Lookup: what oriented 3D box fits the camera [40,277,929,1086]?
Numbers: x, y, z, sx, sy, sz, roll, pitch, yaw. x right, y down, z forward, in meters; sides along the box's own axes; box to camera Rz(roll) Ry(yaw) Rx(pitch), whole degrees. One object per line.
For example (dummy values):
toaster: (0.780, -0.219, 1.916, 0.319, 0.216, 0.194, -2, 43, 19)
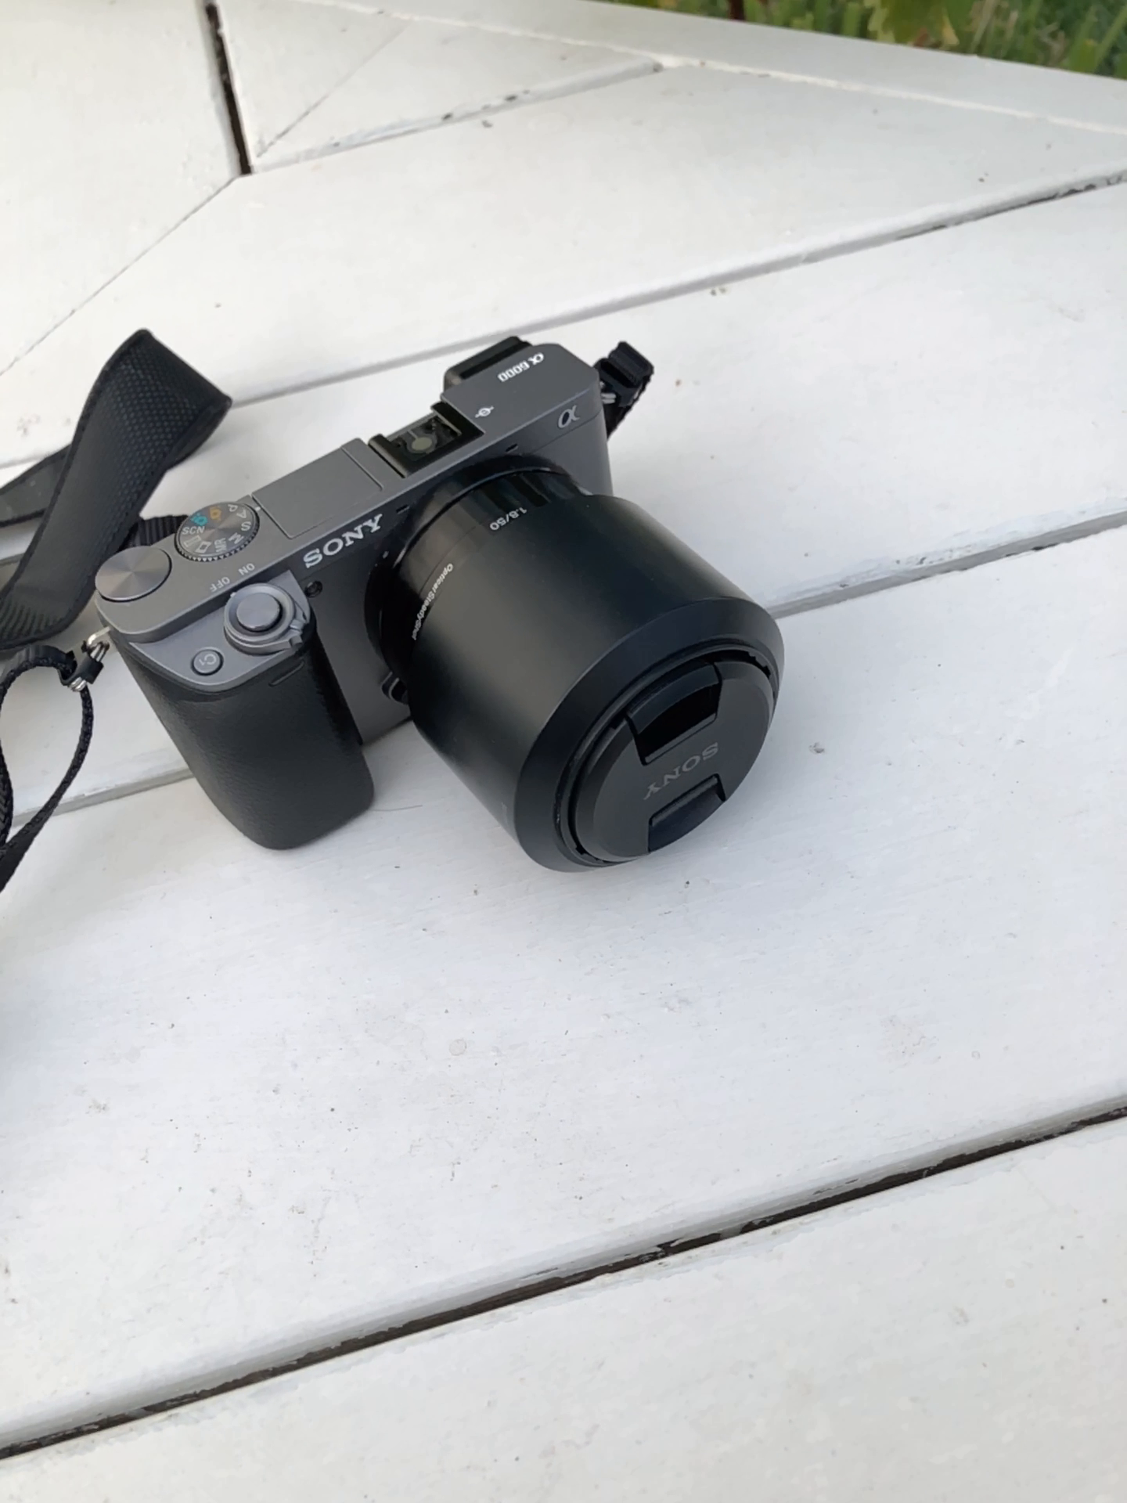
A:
camera: (-0.015, -0.024, 0.275, 0.140, 0.070, 0.110, -33, 54, -18)
